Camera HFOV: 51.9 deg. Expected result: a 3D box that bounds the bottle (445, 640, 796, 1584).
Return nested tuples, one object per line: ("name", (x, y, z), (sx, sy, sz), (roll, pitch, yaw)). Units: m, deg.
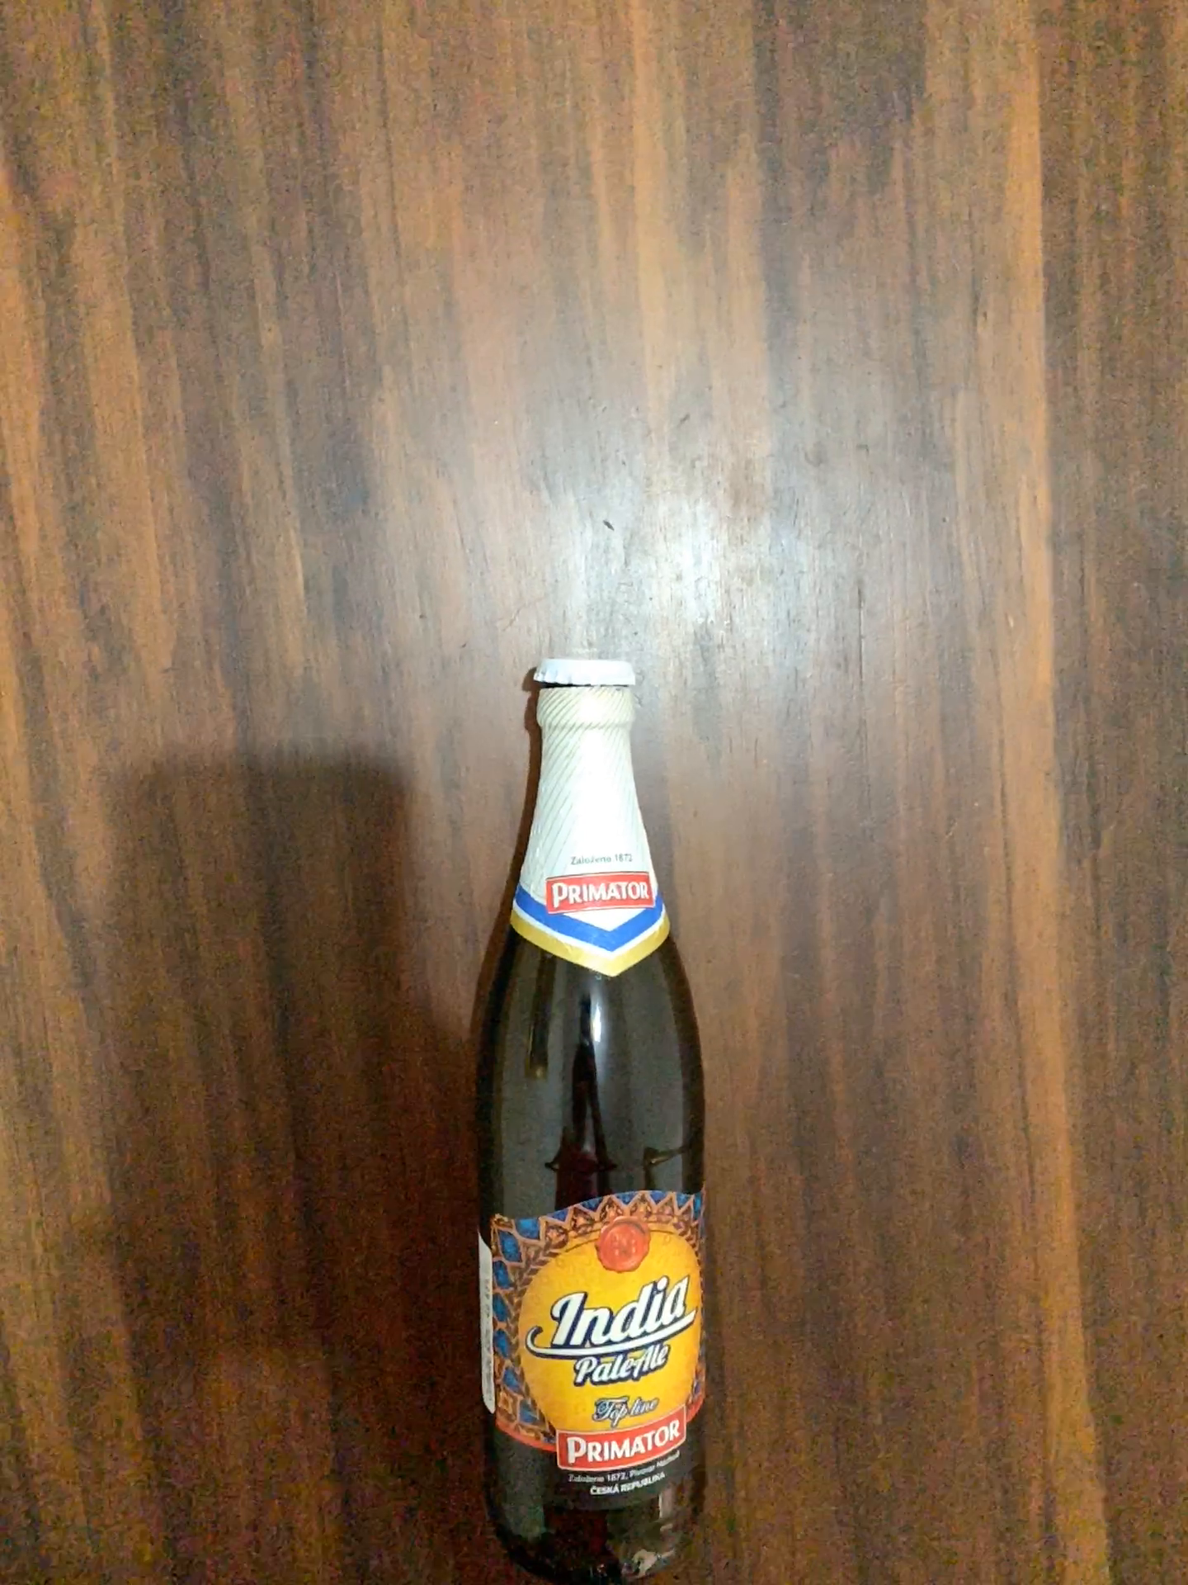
("bottle", (0.007, 0.090, 0.350), (0.080, 0.060, 0.260), (-3, 96, -13))
